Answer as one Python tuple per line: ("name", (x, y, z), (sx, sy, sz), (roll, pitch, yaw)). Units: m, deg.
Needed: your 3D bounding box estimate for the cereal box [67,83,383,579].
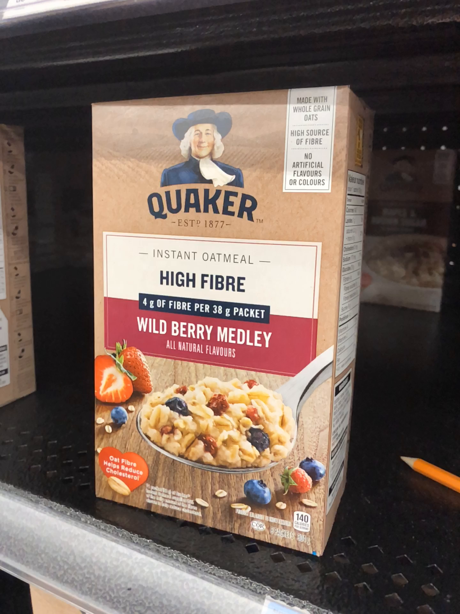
("cereal box", (-0.003, 0.006, 0.257), (0.130, 0.200, 0.070), (6, 11, 20))
